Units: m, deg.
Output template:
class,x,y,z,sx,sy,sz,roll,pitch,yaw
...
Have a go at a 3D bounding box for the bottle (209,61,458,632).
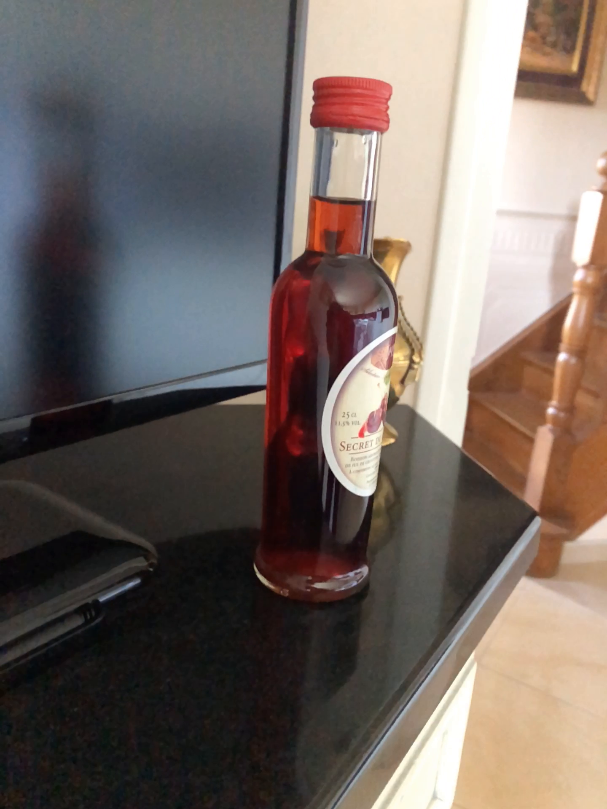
class,x,y,z,sx,sy,sz,roll,pitch,yaw
bottle,0.011,-0.024,0.297,0.070,0.219,0.070,4,17,-1
